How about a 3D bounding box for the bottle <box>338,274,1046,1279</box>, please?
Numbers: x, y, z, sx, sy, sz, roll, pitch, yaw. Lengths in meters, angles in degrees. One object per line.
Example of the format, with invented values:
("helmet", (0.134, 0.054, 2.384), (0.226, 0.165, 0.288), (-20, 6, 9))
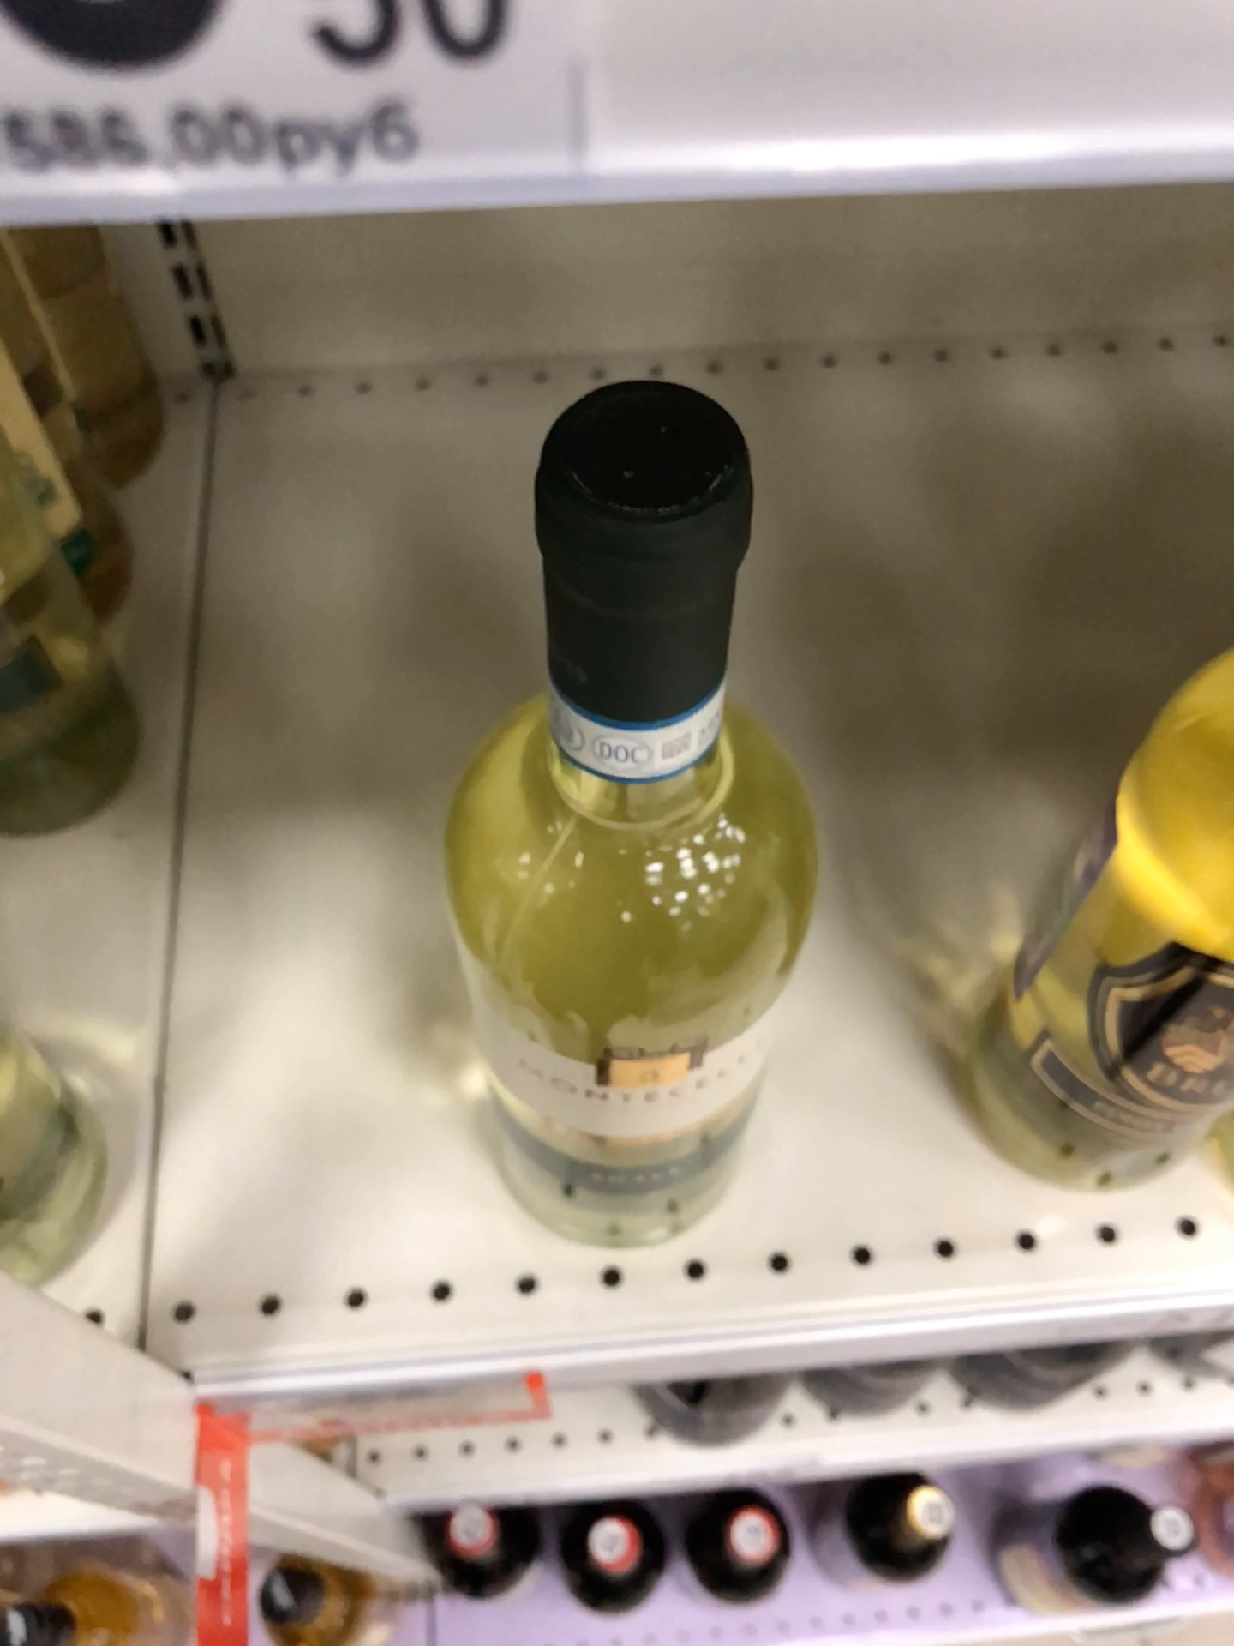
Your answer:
("bottle", (0.005, 0.027, 0.302), (0.080, 0.285, 0.070), (-7, 61, -5))
